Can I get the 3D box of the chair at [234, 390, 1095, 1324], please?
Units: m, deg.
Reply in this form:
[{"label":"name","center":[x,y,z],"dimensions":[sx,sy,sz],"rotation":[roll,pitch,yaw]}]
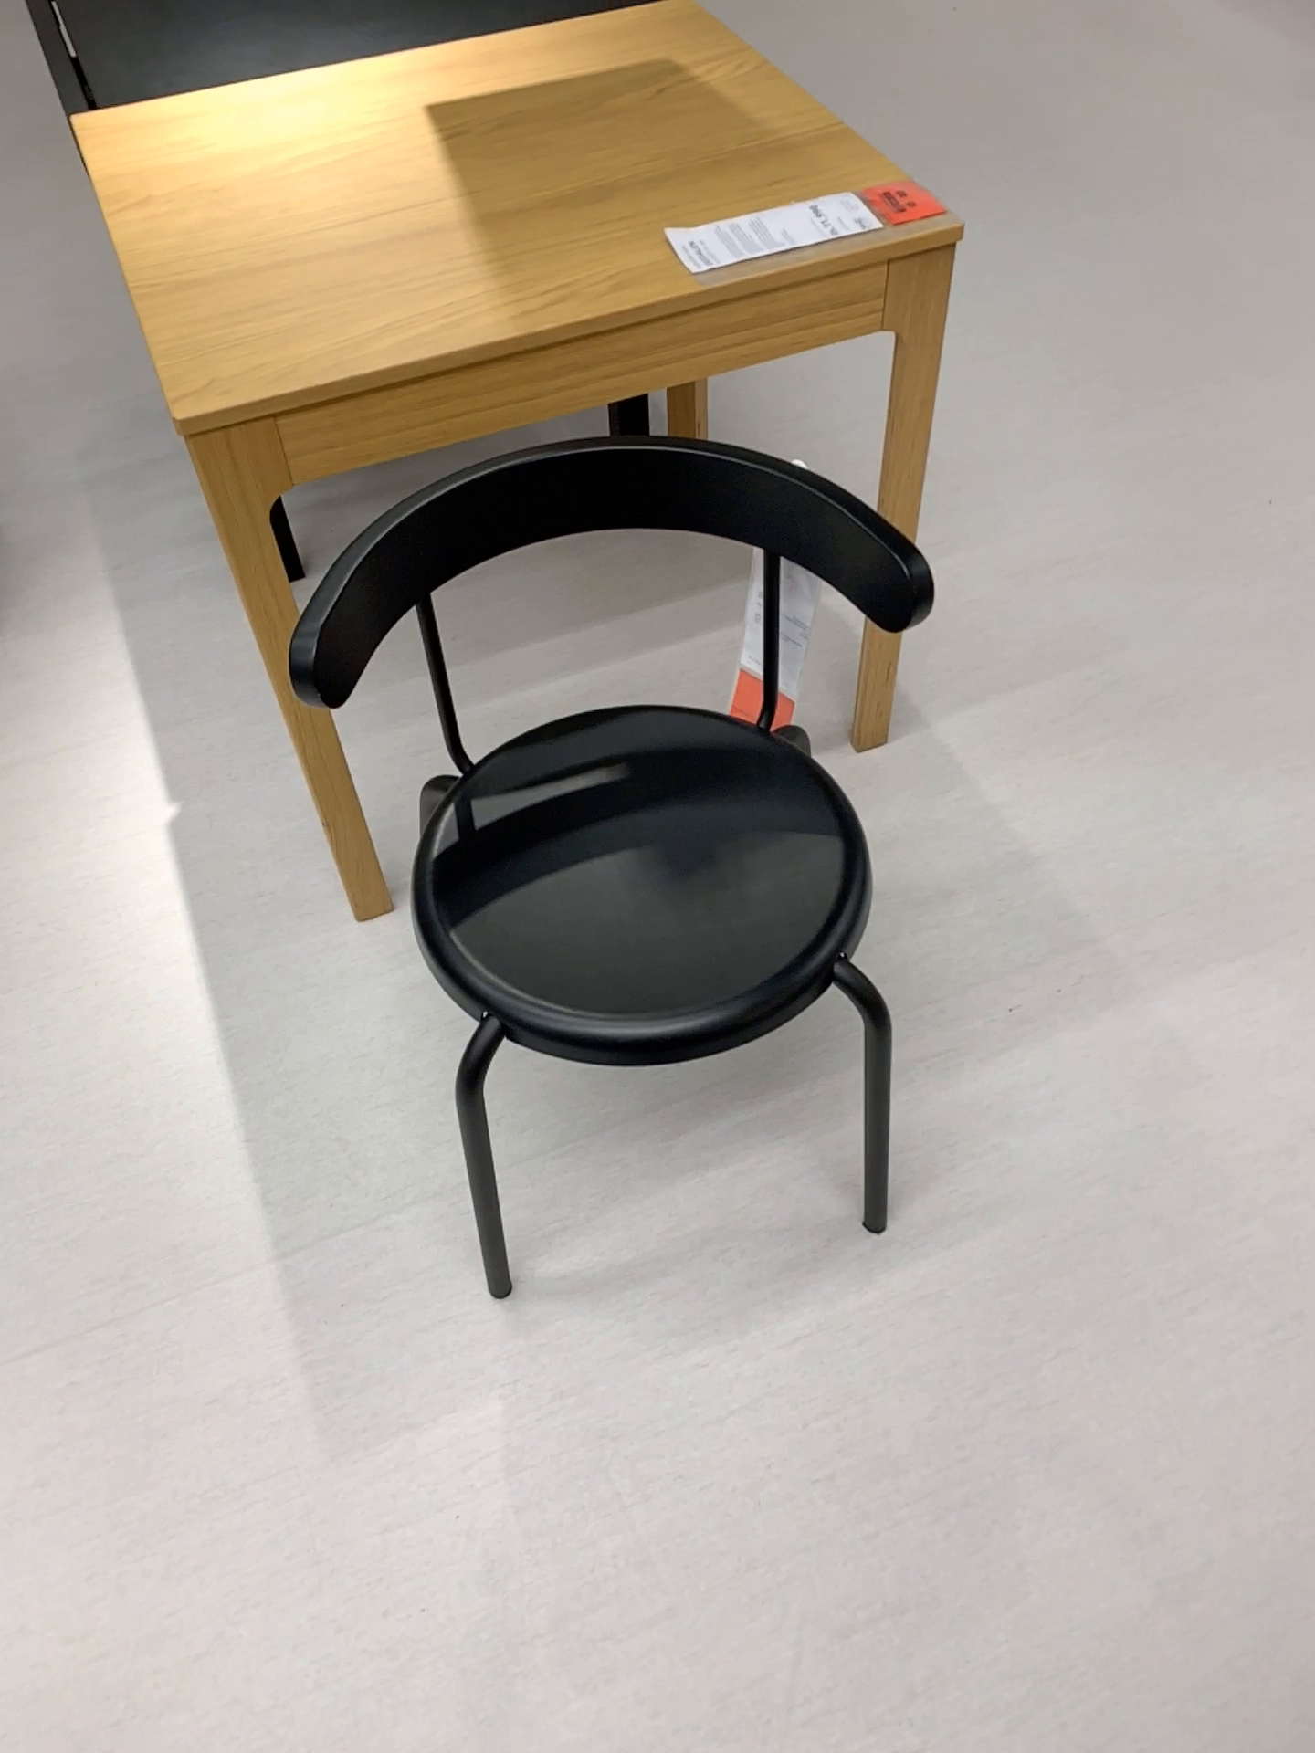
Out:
[{"label":"chair","center":[-0.026,-0.012,1.326],"dimensions":[0.590,0.598,0.612],"rotation":[-8,51,-4]}]
